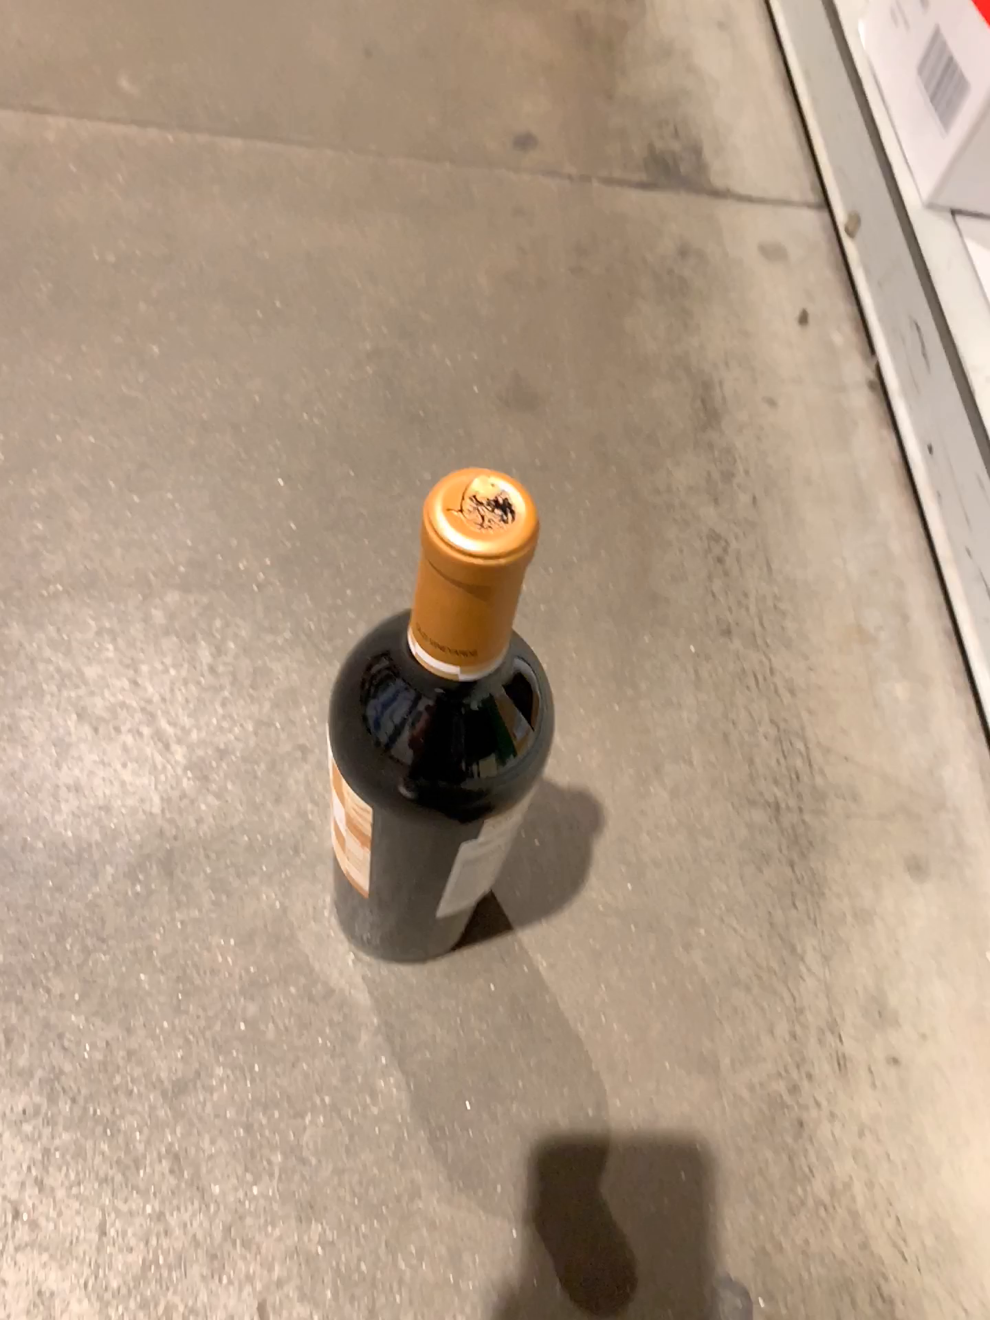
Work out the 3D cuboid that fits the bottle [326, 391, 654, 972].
[{"bbox_3d":[-0.023,0.042,0.402,0.080,0.317,0.080,4,59,-7],"label":"bottle"}]
